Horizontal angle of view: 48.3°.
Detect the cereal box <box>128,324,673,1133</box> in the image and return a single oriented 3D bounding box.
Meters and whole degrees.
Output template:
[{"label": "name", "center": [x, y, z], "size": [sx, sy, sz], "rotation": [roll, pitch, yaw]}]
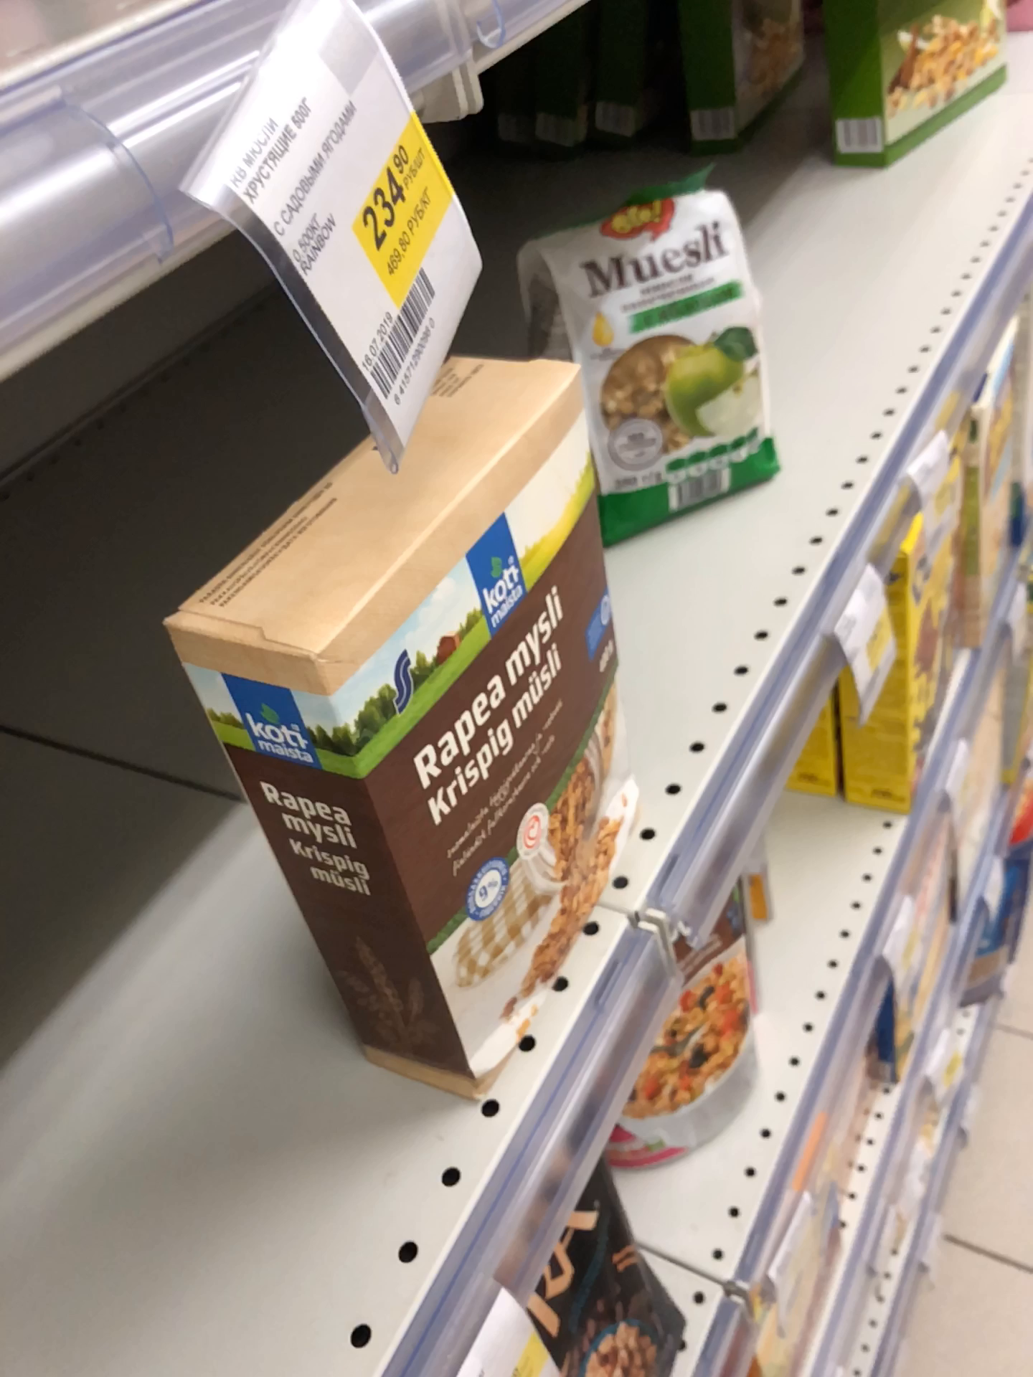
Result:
[{"label": "cereal box", "center": [-0.013, 0.013, 0.351], "size": [0.050, 0.189, 0.151], "rotation": [11, 46, 27]}]
